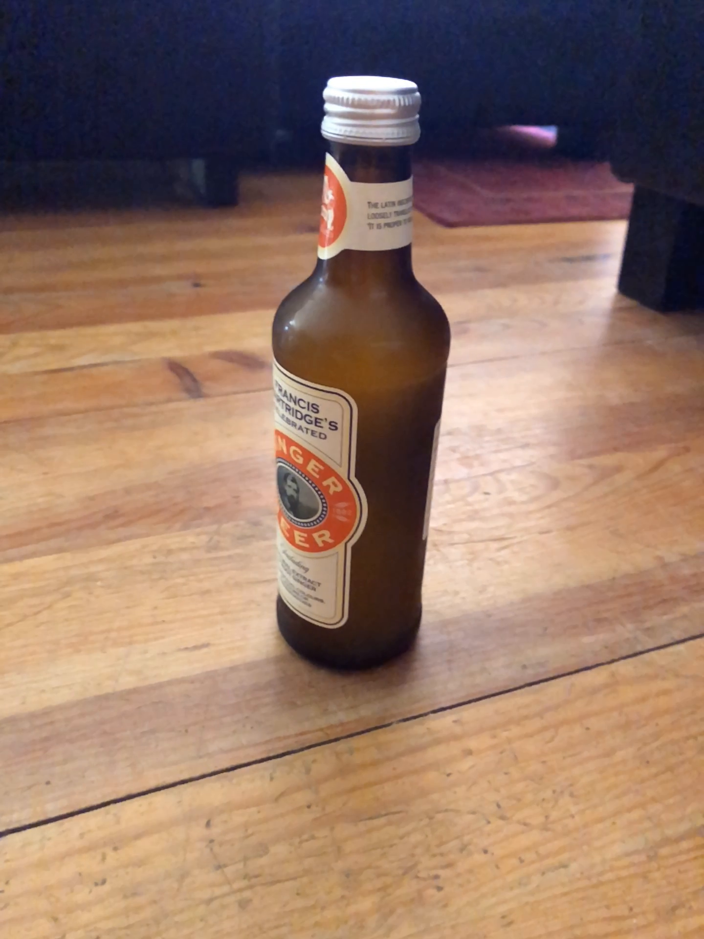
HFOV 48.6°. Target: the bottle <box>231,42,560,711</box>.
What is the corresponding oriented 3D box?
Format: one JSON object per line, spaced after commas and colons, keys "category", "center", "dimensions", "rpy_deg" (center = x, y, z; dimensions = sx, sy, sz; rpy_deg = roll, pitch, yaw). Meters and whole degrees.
{"category": "bottle", "center": [0.007, -0.026, 0.269], "dimensions": [0.060, 0.209, 0.070], "rpy_deg": [-20, 37, -31]}
